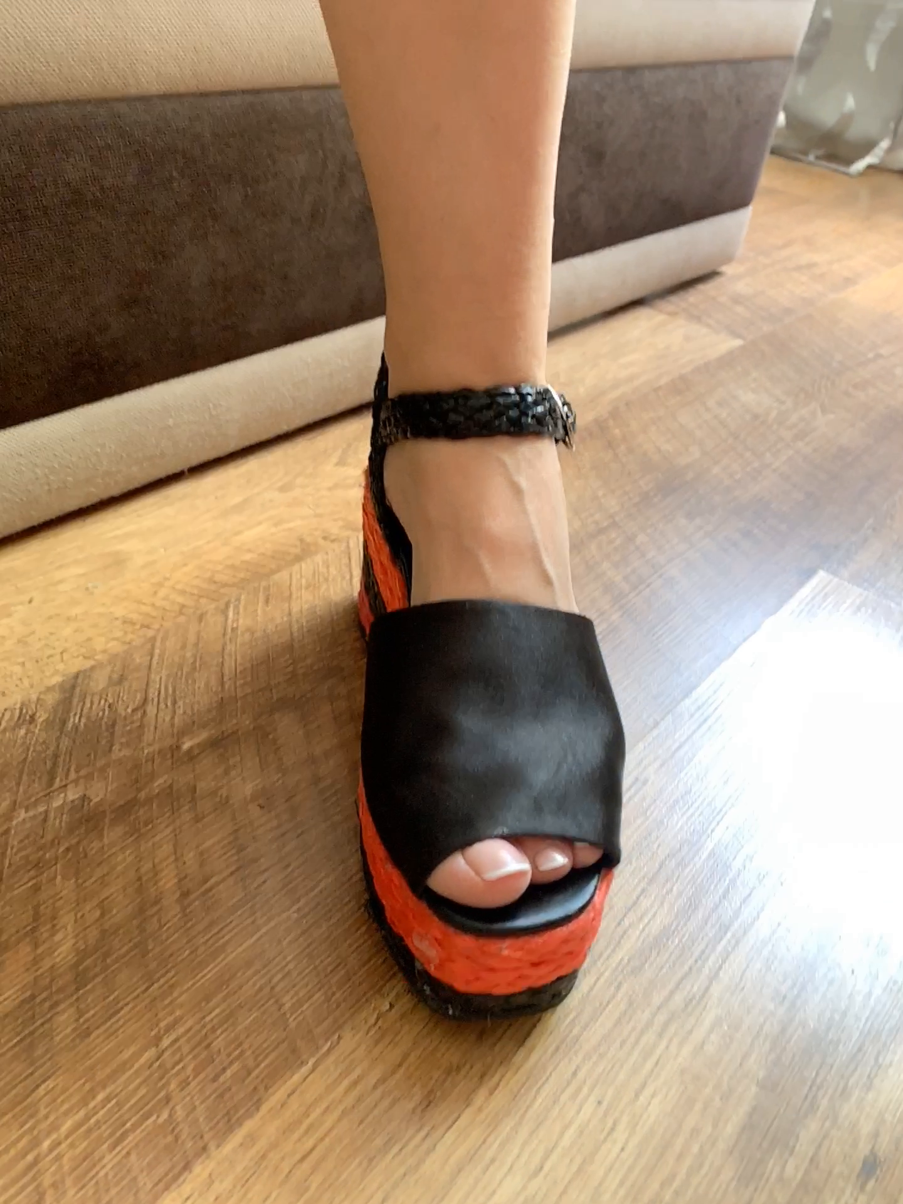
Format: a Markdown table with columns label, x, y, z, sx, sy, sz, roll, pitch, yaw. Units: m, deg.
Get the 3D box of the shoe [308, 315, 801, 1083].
| label | x | y | z | sx | sy | sz | roll | pitch | yaw |
| --- | --- | --- | --- | --- | --- | --- | --- | --- | --- |
| shoe | 0.003 | 0.007 | 0.319 | 0.089 | 0.124 | 0.241 | -1 | 37 | -12 |
